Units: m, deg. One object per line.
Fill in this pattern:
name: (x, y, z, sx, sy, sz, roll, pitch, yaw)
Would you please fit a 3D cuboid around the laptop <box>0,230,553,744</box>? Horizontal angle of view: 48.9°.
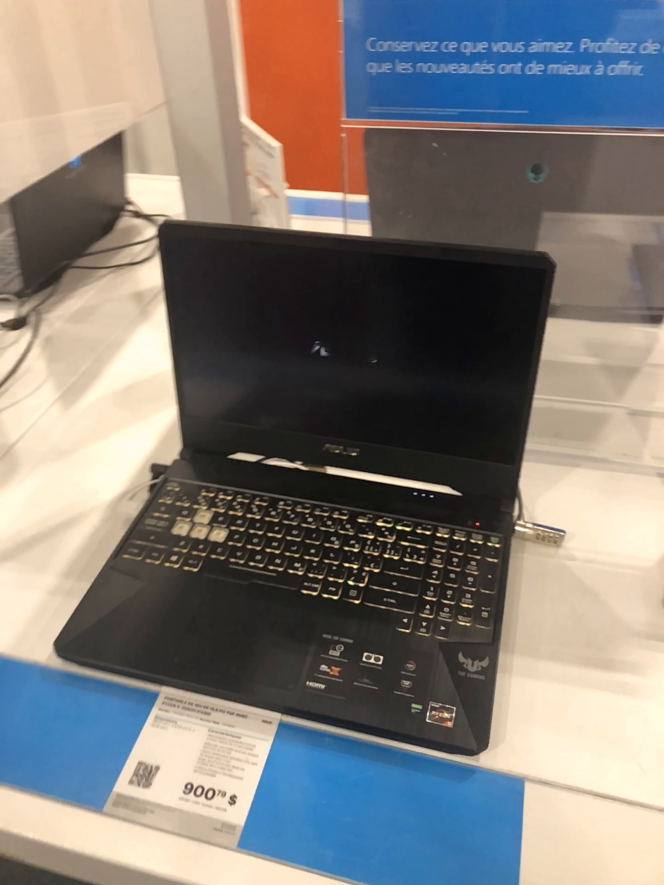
laptop: (-0.024, 0.010, 0.606, 0.350, 0.235, 0.302, 8, 40, 13)
